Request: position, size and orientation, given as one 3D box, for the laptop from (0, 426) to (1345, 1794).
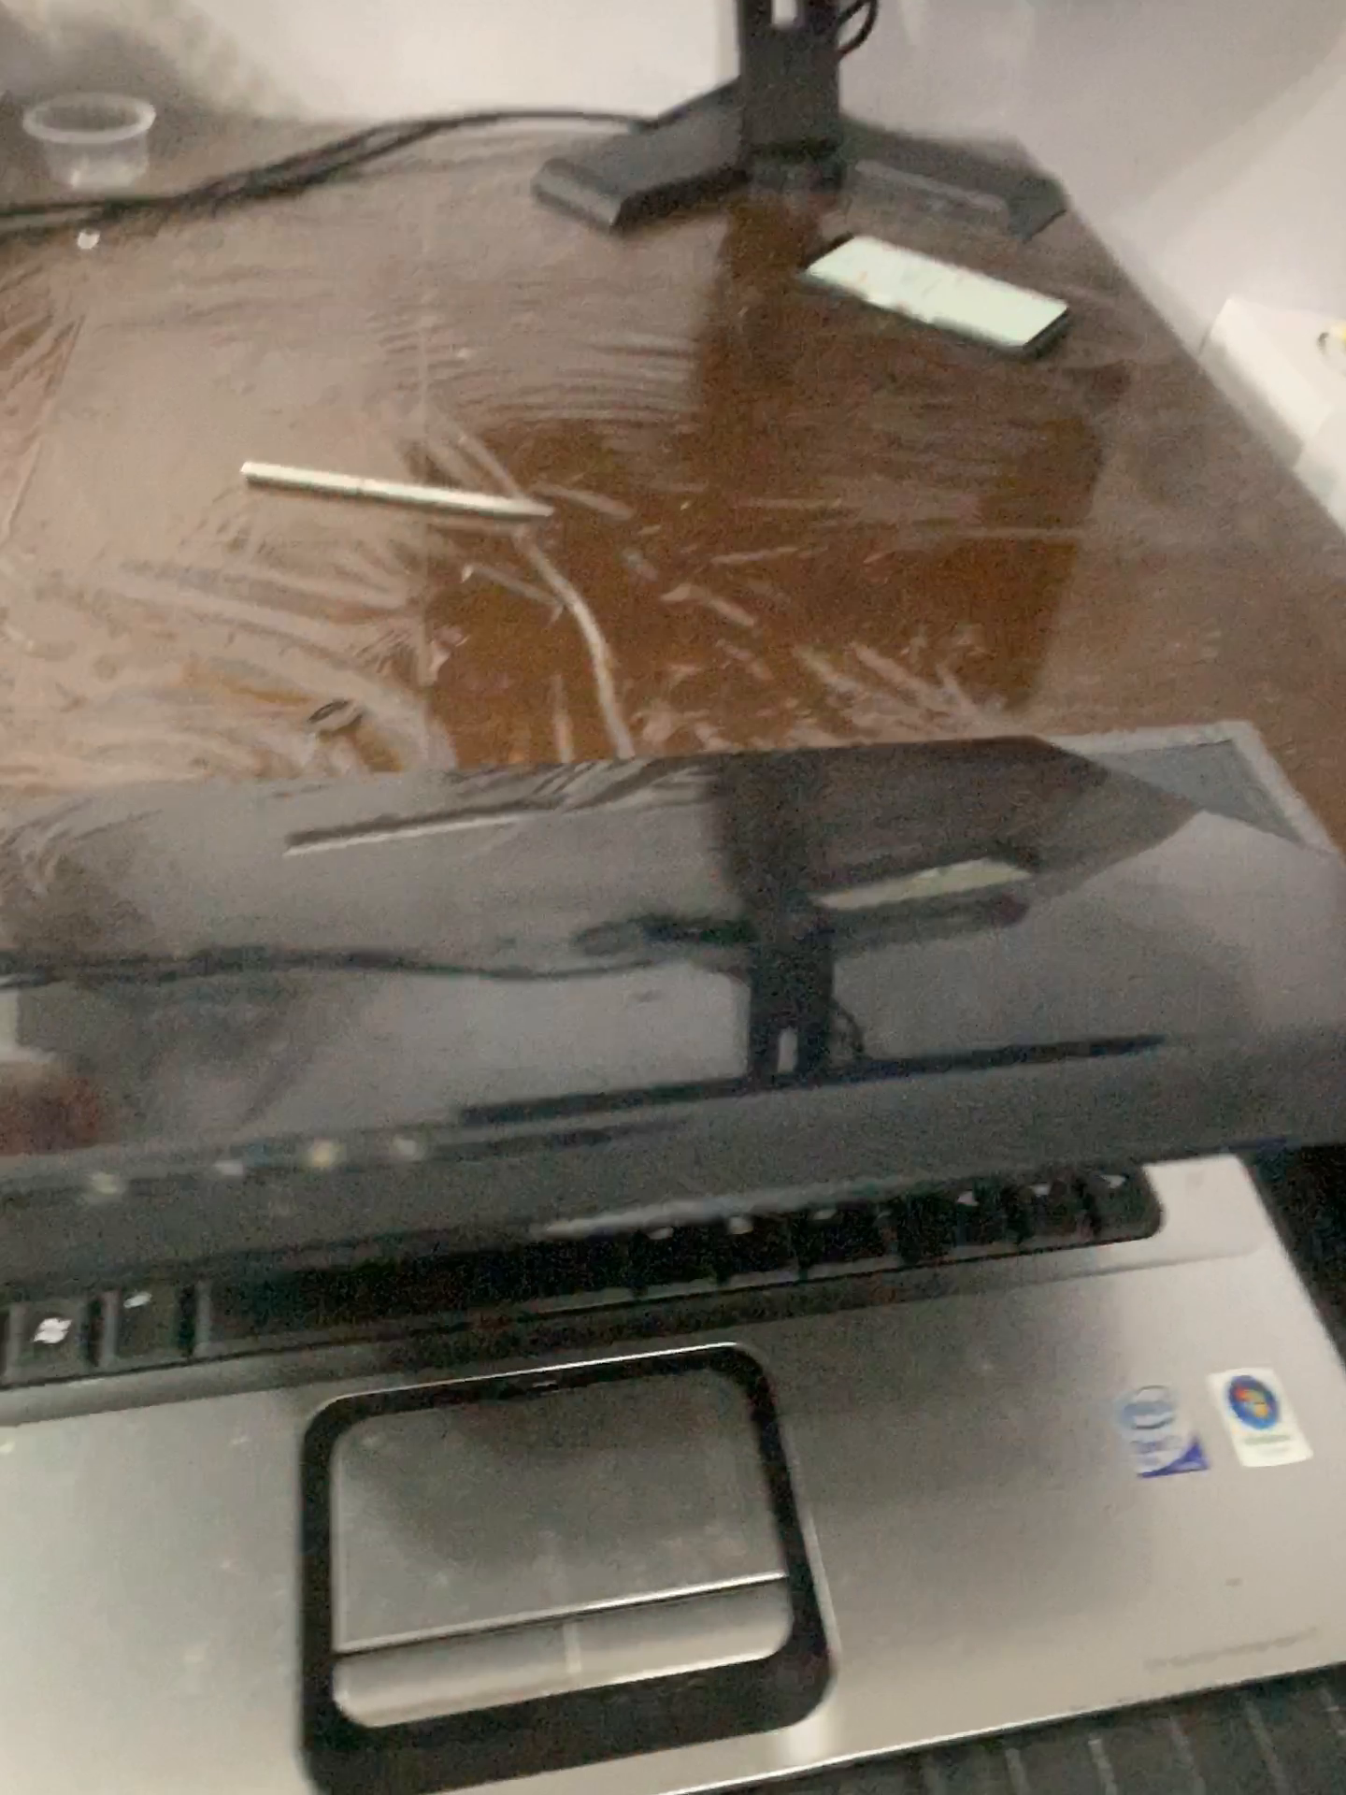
[{"bbox_3d":[-0.022,0.026,0.276,0.342,0.108,0.245,-5,50,-13],"label":"laptop"}]
